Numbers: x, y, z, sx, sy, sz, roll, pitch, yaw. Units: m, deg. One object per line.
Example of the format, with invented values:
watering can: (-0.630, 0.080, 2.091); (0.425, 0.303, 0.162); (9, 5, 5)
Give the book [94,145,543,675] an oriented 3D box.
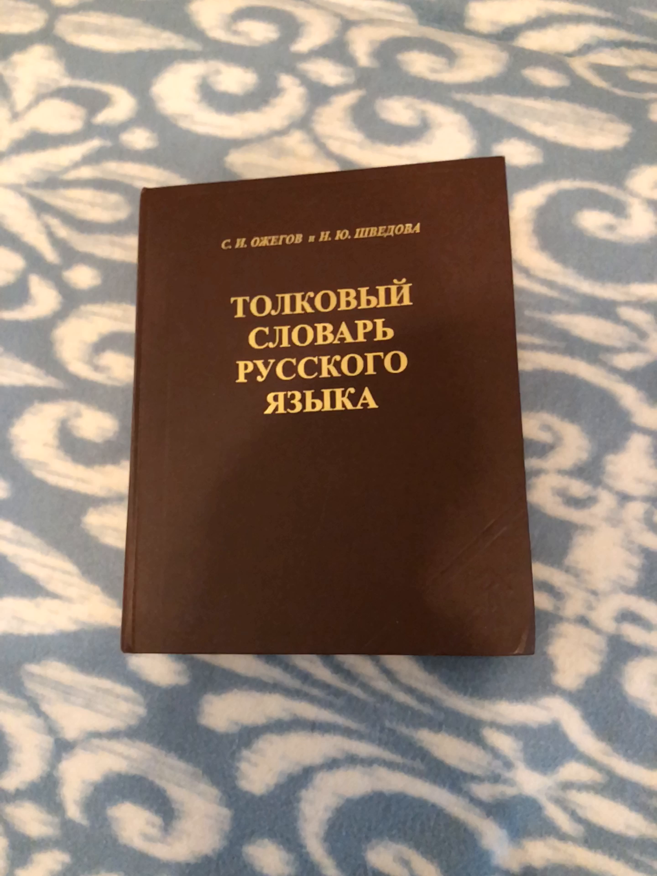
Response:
book: (-0.004, -0.014, 0.411); (0.220, 0.067, 0.270); (-2, 79, 9)
